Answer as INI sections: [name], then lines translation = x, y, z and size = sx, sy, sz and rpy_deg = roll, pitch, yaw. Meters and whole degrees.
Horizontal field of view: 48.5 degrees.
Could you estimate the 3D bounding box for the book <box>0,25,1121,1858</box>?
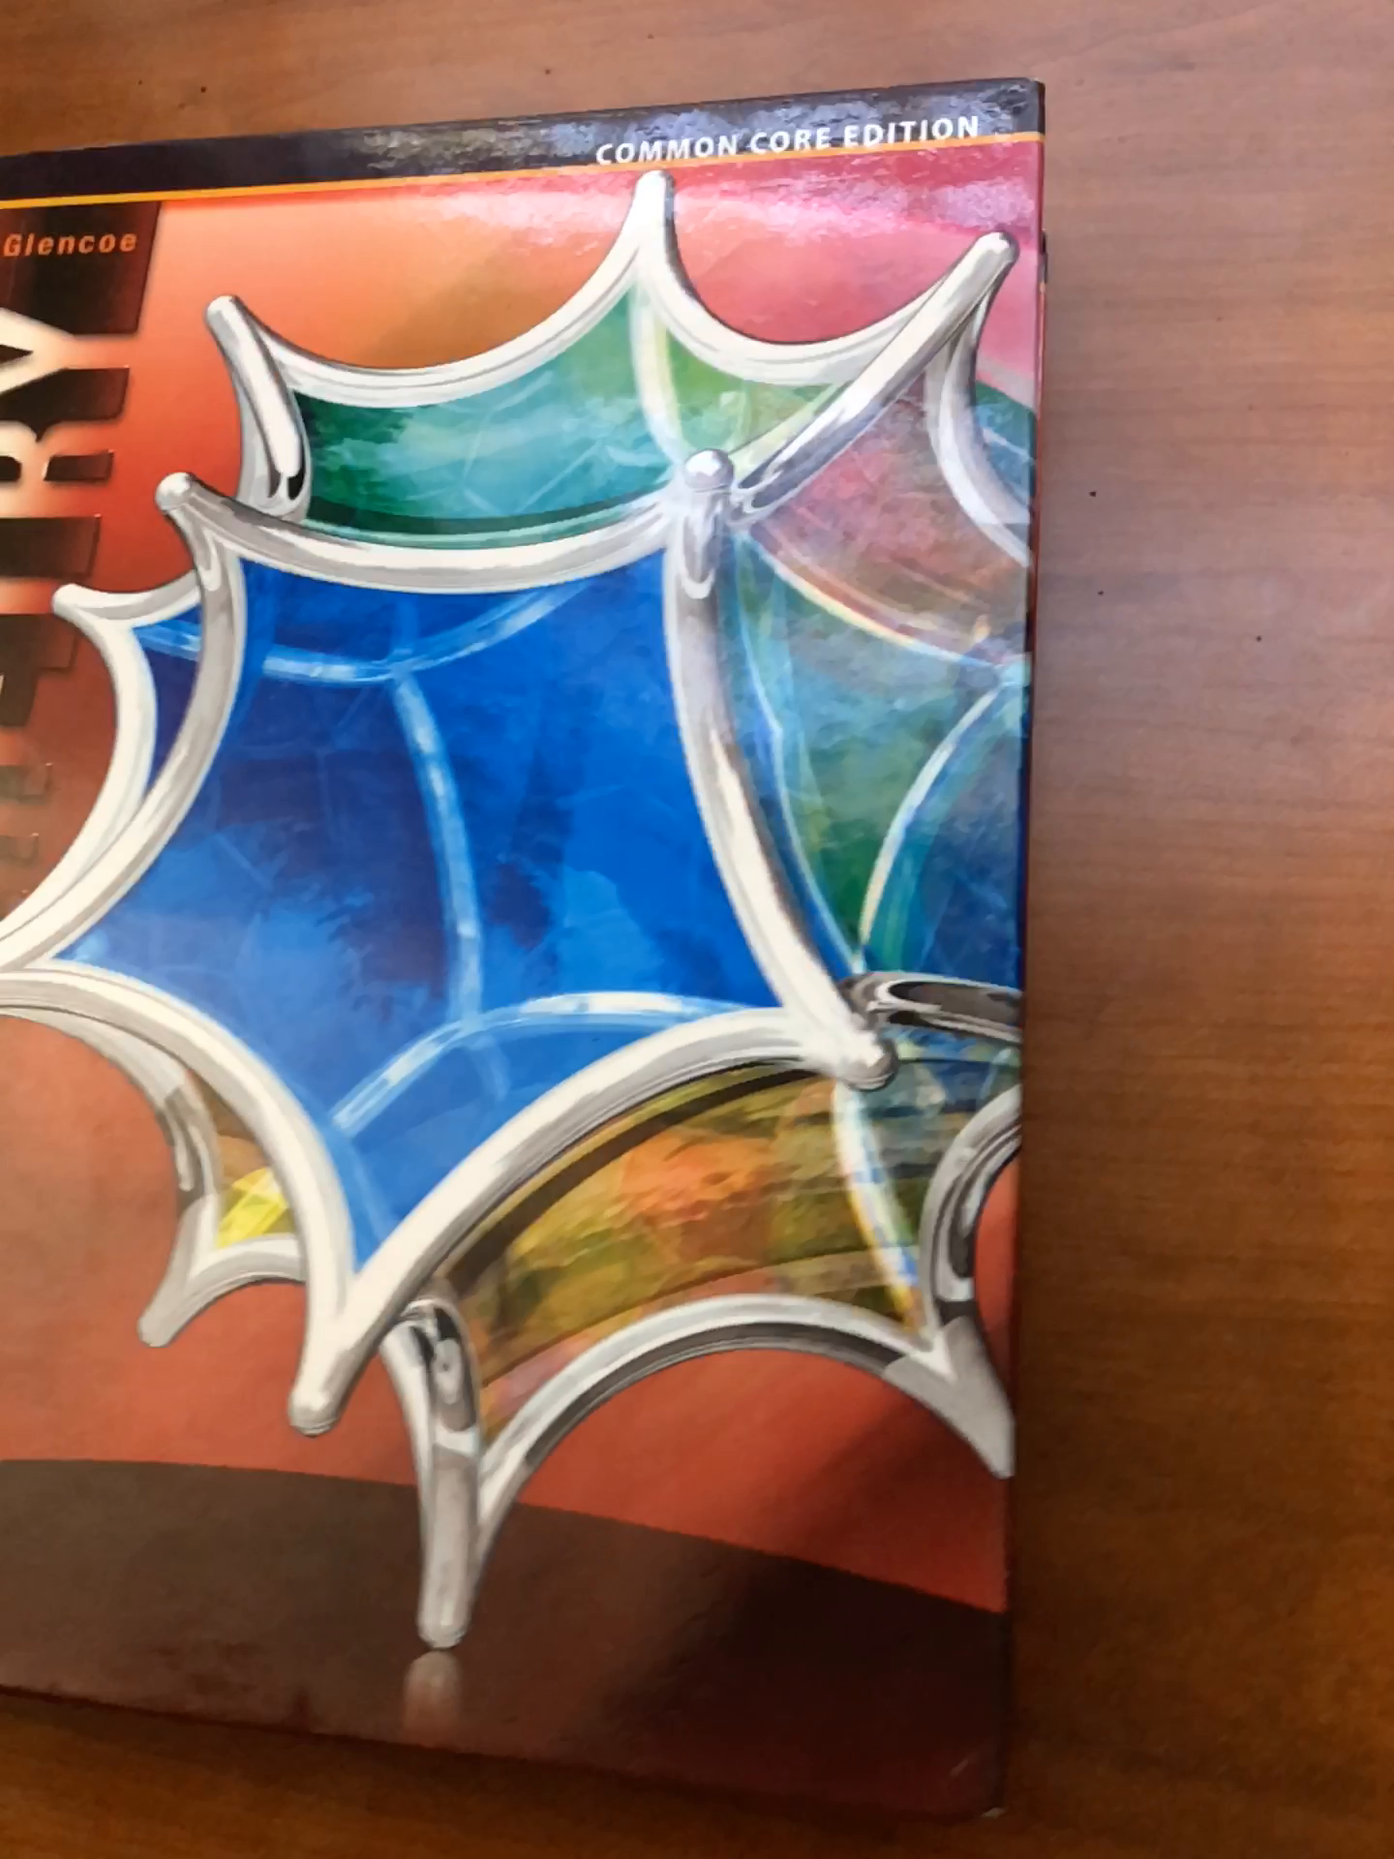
[book]
translation = -0.046, -0.009, 0.280
size = 0.229, 0.050, 0.310
rpy_deg = 2, 74, 12
